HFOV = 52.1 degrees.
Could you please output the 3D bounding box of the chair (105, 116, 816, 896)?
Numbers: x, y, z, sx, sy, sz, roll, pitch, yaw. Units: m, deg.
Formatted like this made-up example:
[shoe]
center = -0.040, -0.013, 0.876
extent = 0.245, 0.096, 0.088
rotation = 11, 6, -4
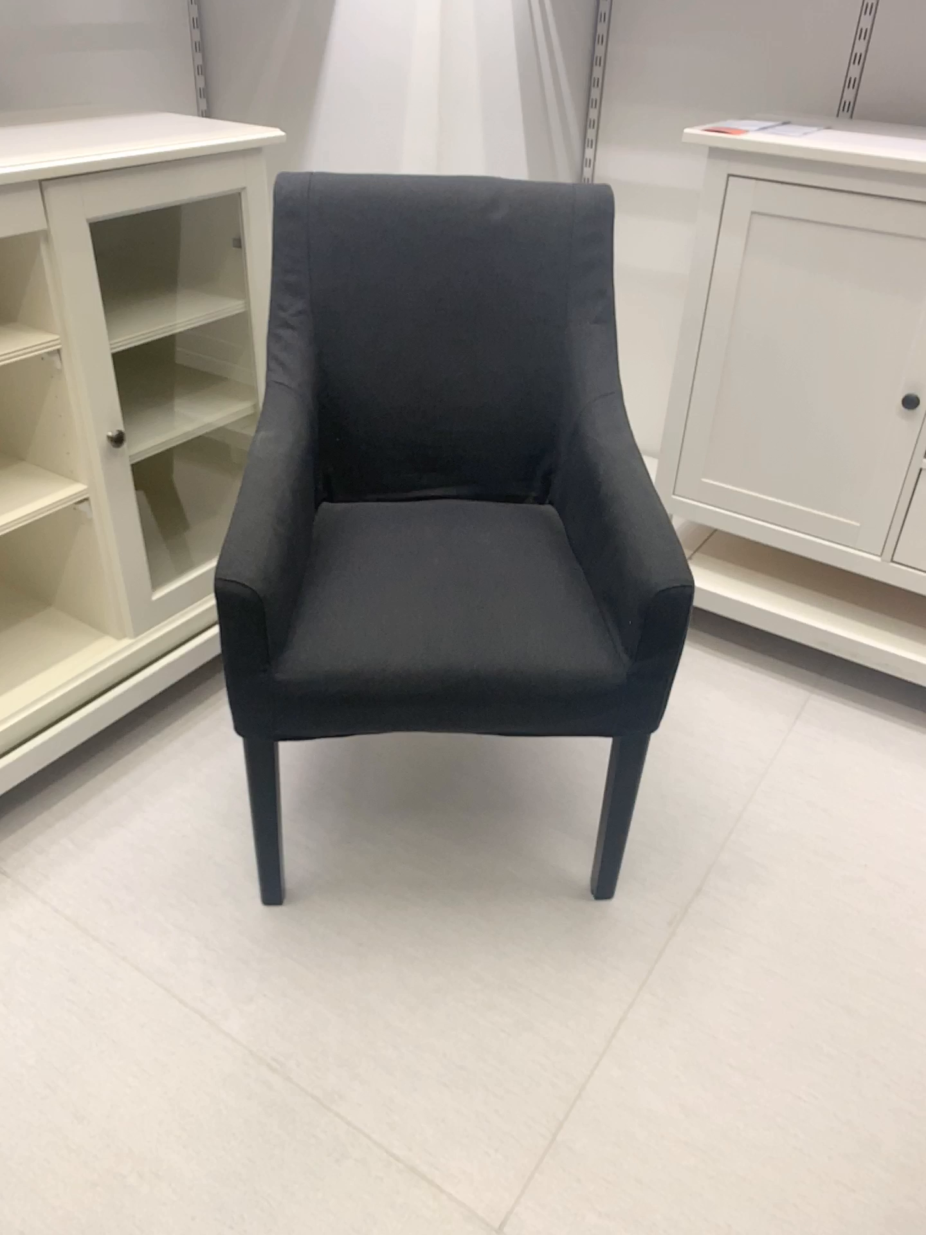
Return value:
[chair]
center = -0.028, -0.158, 1.392
extent = 0.660, 0.946, 0.613
rotation = 0, 34, -4
